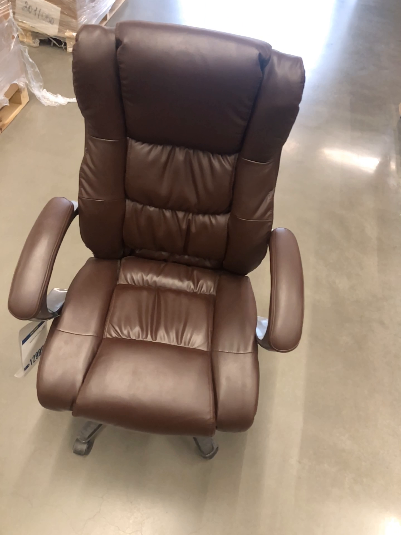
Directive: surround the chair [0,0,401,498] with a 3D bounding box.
[{"bbox_3d":[-0.111,0.049,1.115,0.680,1.093,0.654,9,50,0],"label":"chair"}]
